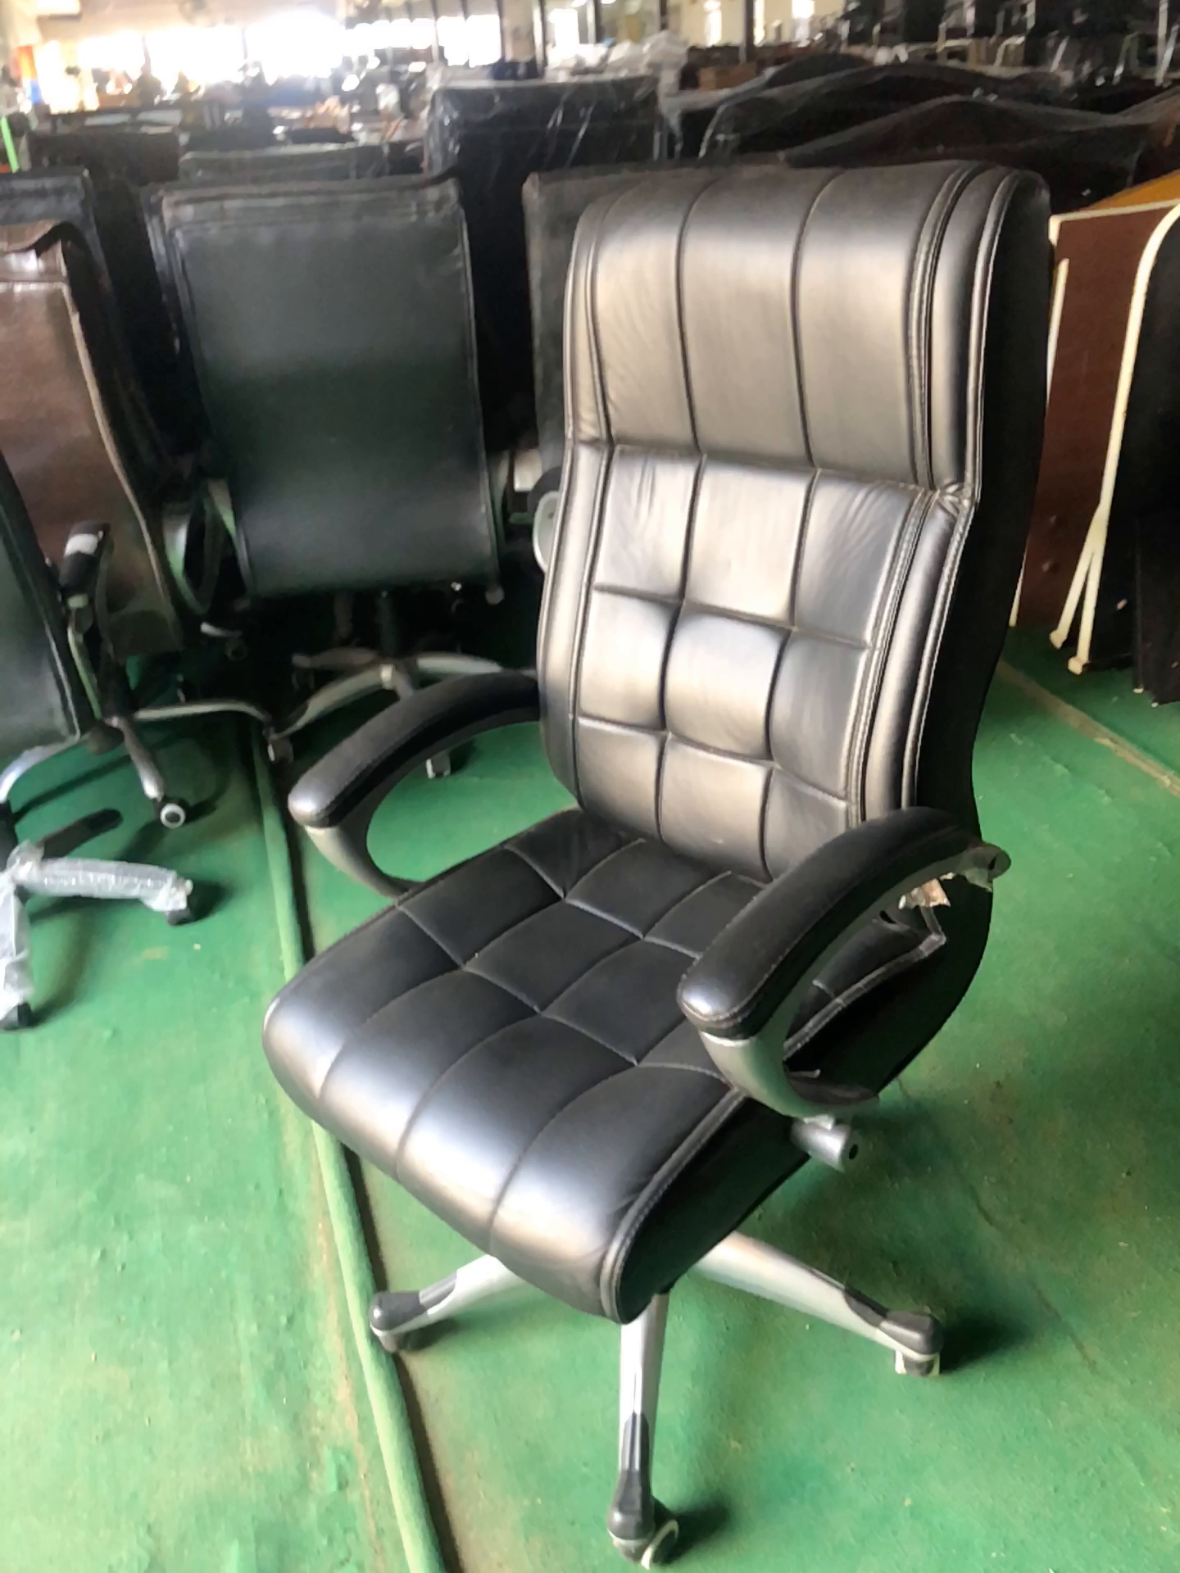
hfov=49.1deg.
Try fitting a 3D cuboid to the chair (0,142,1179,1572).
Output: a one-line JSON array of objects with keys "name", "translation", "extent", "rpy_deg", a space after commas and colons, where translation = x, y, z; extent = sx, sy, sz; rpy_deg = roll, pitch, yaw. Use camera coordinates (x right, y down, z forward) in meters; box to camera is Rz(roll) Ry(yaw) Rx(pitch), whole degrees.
[{"name": "chair", "translation": [0.093, 0.038, 1.377], "extent": [0.810, 1.224, 0.834], "rpy_deg": [21, 38, 37]}]
